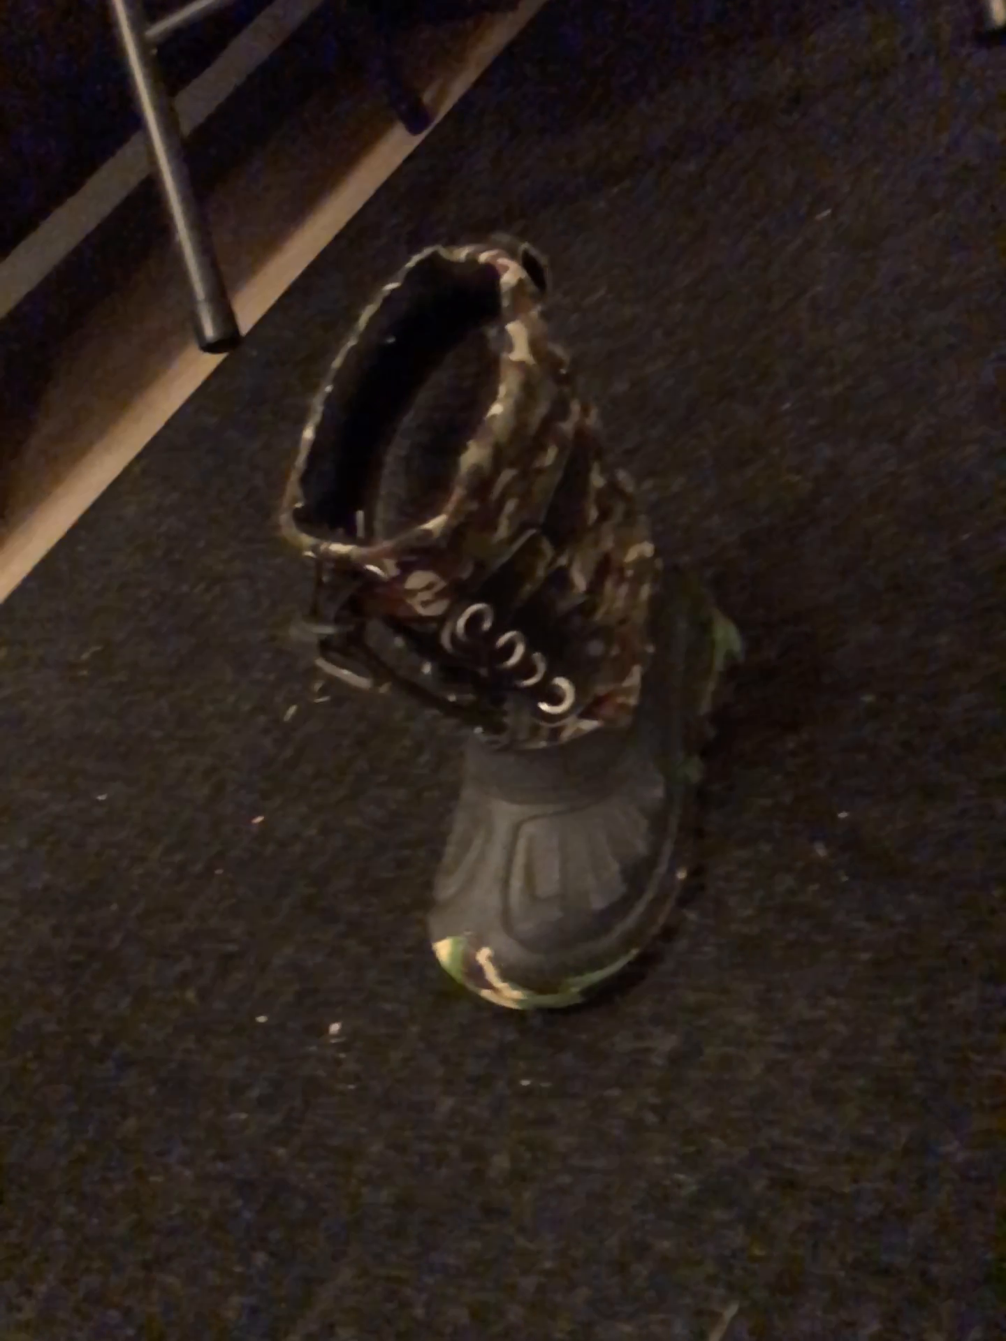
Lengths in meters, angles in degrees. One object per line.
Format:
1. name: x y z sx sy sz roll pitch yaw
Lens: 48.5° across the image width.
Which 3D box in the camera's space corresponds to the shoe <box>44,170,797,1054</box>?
1. shoe: 0.000 -0.013 0.392 0.100 0.209 0.200 6 58 36
